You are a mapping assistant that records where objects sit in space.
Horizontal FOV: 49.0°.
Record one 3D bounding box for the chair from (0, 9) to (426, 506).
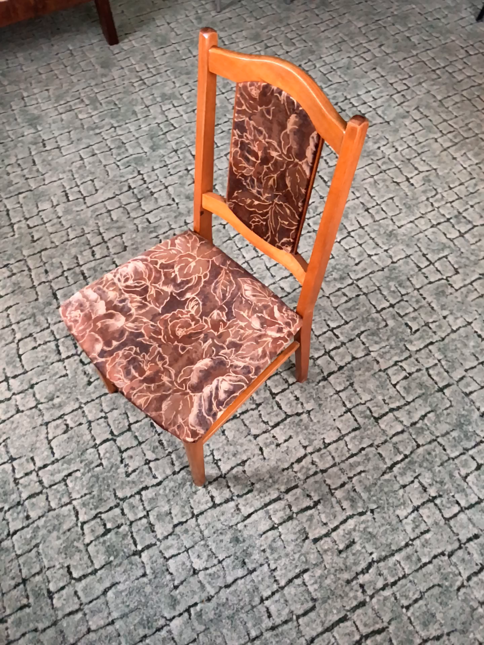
[{"bbox_3d":[-0.068,-0.064,1.202,0.552,0.875,0.481,-39,65,-20],"label":"chair"}]
